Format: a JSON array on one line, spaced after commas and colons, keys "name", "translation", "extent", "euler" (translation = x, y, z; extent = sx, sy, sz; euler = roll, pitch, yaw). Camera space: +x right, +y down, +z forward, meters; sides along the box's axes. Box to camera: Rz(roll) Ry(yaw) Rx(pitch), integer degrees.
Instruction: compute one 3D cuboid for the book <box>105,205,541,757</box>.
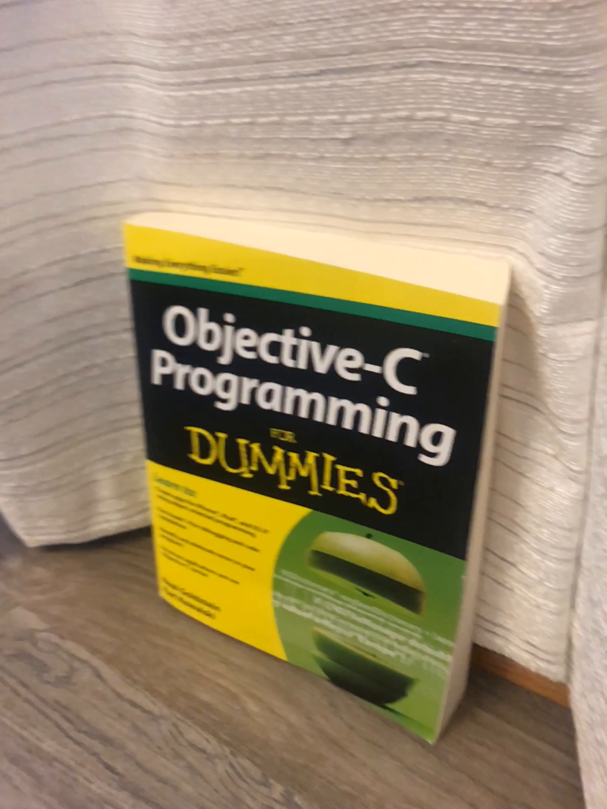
[{"name": "book", "translation": [-0.002, 0.035, 0.324], "extent": [0.184, 0.229, 0.033], "euler": [16, 31, 28]}]
